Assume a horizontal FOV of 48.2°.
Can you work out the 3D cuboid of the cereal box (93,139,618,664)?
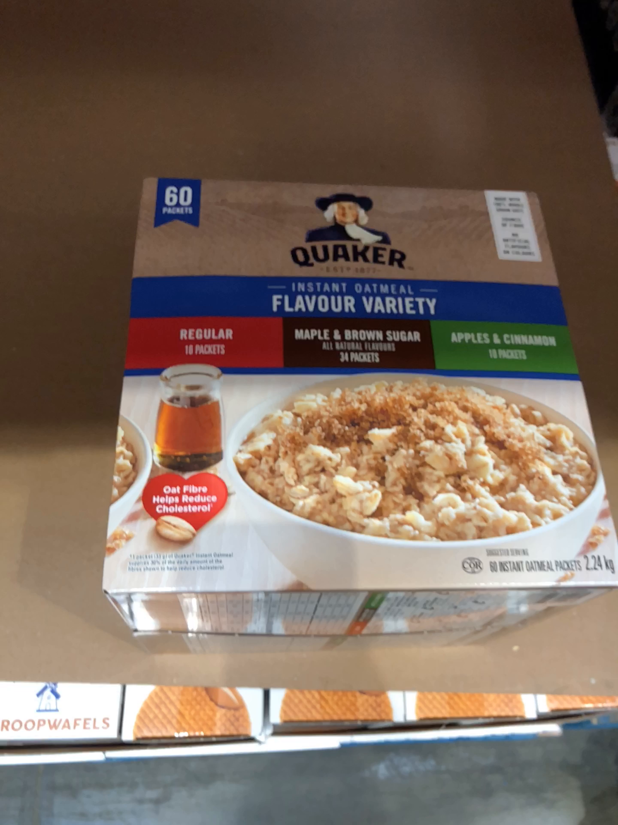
[{"bbox_3d":[0.018,0.006,0.438,0.240,0.200,0.260,0,63,-6],"label":"cereal box"}]
